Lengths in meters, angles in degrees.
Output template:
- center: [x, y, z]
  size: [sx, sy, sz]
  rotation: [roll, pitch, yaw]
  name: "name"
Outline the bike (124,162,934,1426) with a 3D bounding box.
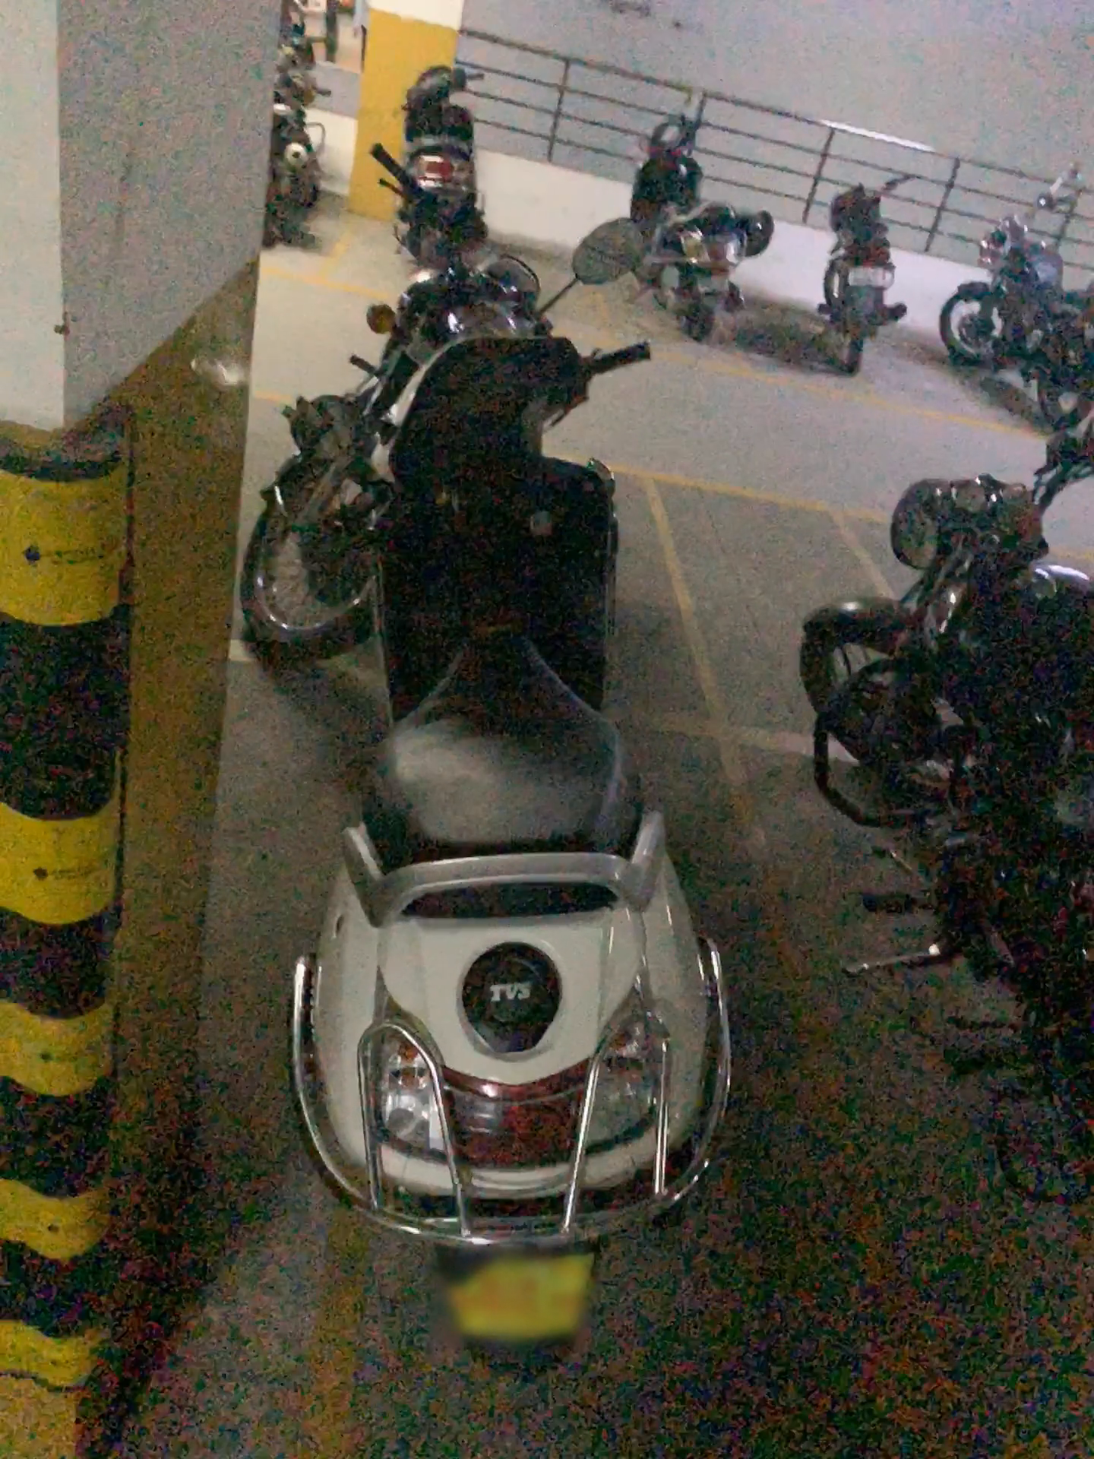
- center: [-0.153, -0.039, 1.809]
  size: [0.648, 1.159, 1.538]
  rotation: [8, 35, -10]
  name: "bike"
